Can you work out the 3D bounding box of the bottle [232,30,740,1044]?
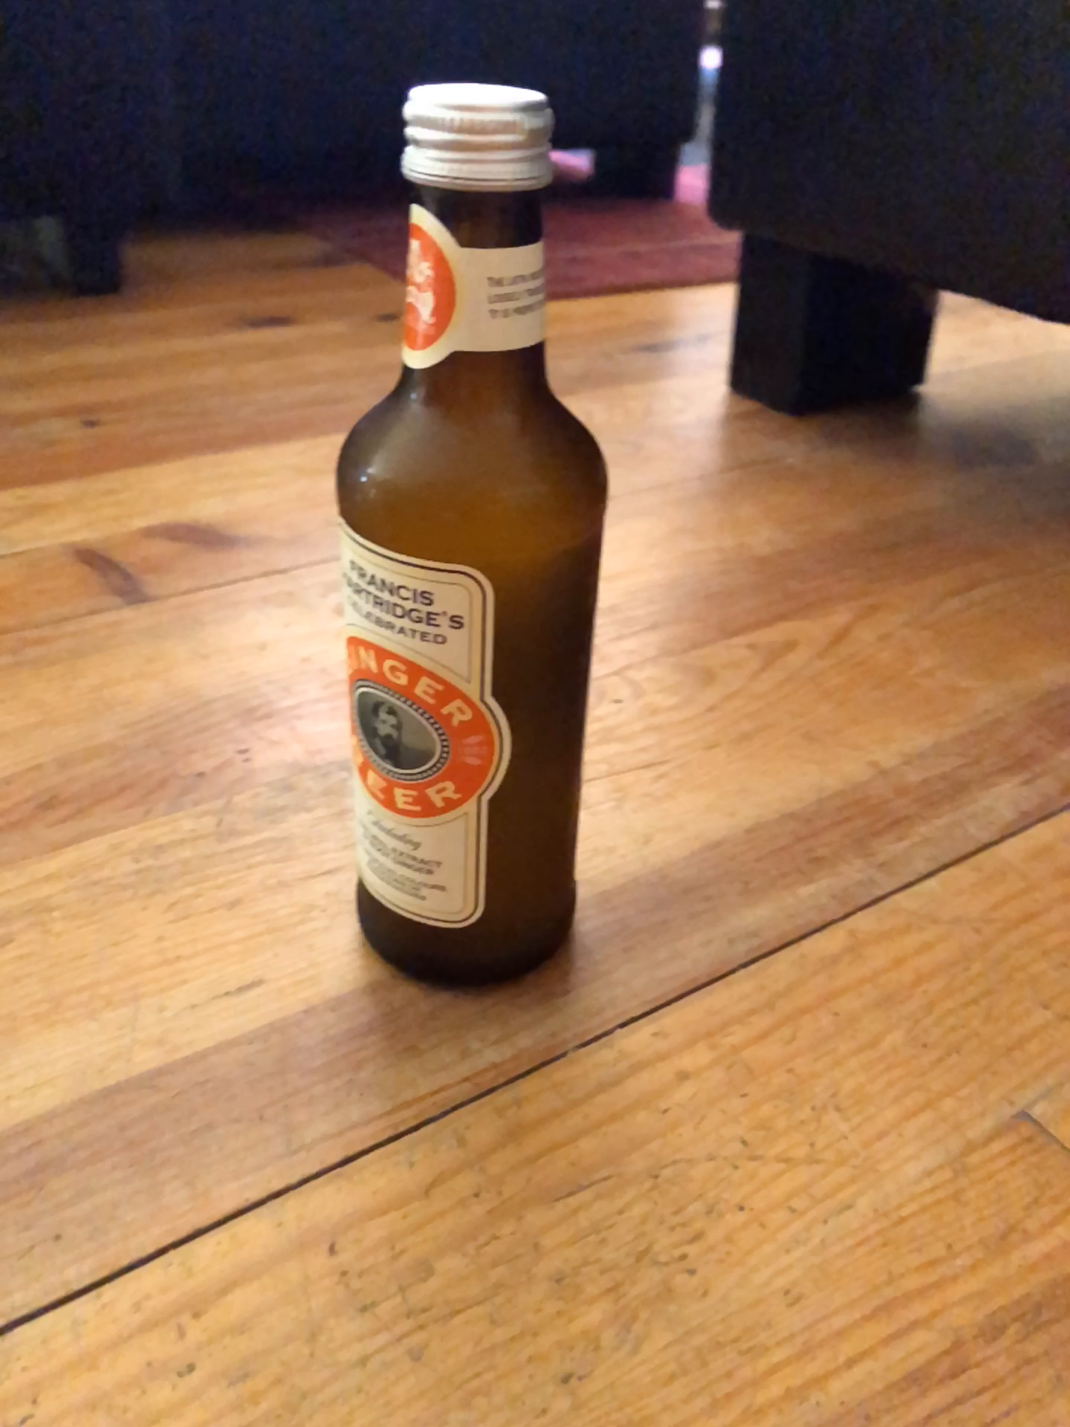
[{"bbox_3d":[-0.013,-0.033,0.271,0.070,0.209,0.060,26,39,33],"label":"bottle"}]
